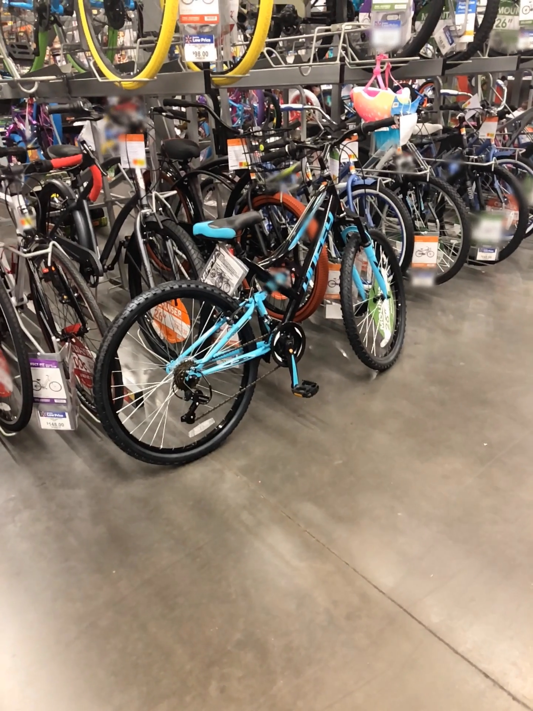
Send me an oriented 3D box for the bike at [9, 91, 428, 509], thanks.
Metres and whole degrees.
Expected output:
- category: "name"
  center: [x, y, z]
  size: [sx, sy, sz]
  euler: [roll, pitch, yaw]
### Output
- category: "bike"
  center: [-0.052, -0.403, 2.427]
  size: [0.545, 1.121, 1.710]
  euler: [24, 38, 39]
